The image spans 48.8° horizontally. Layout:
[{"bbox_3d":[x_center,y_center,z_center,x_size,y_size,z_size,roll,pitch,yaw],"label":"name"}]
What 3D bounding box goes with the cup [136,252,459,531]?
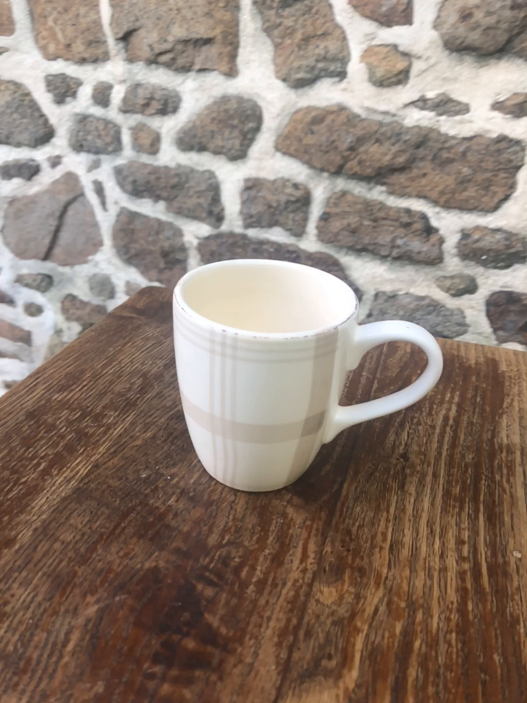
[{"bbox_3d":[0.019,0.012,0.275,0.124,0.078,0.088,9,30,11],"label":"cup"}]
